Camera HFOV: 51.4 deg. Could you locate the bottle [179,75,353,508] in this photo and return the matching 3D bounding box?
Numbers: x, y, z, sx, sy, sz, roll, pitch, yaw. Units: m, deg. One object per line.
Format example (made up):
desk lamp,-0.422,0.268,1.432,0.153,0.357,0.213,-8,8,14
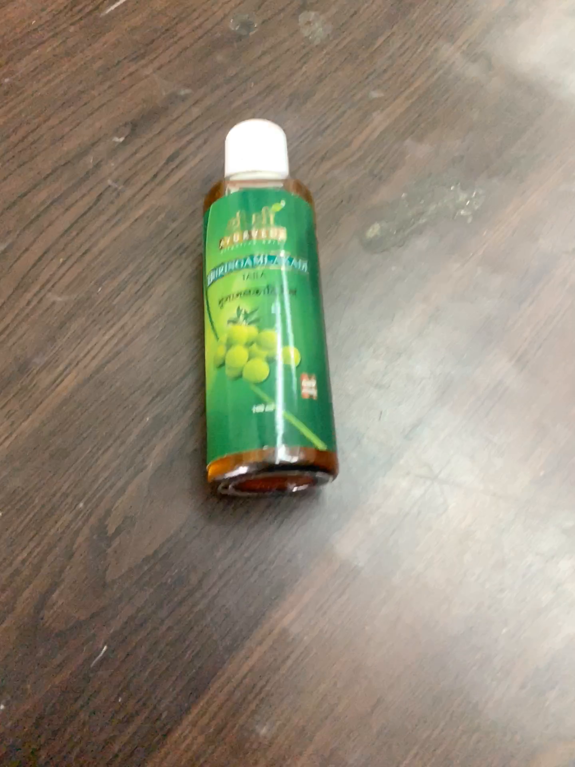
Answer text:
bottle,-0.007,-0.028,0.177,0.040,0.040,0.120,-4,69,2
